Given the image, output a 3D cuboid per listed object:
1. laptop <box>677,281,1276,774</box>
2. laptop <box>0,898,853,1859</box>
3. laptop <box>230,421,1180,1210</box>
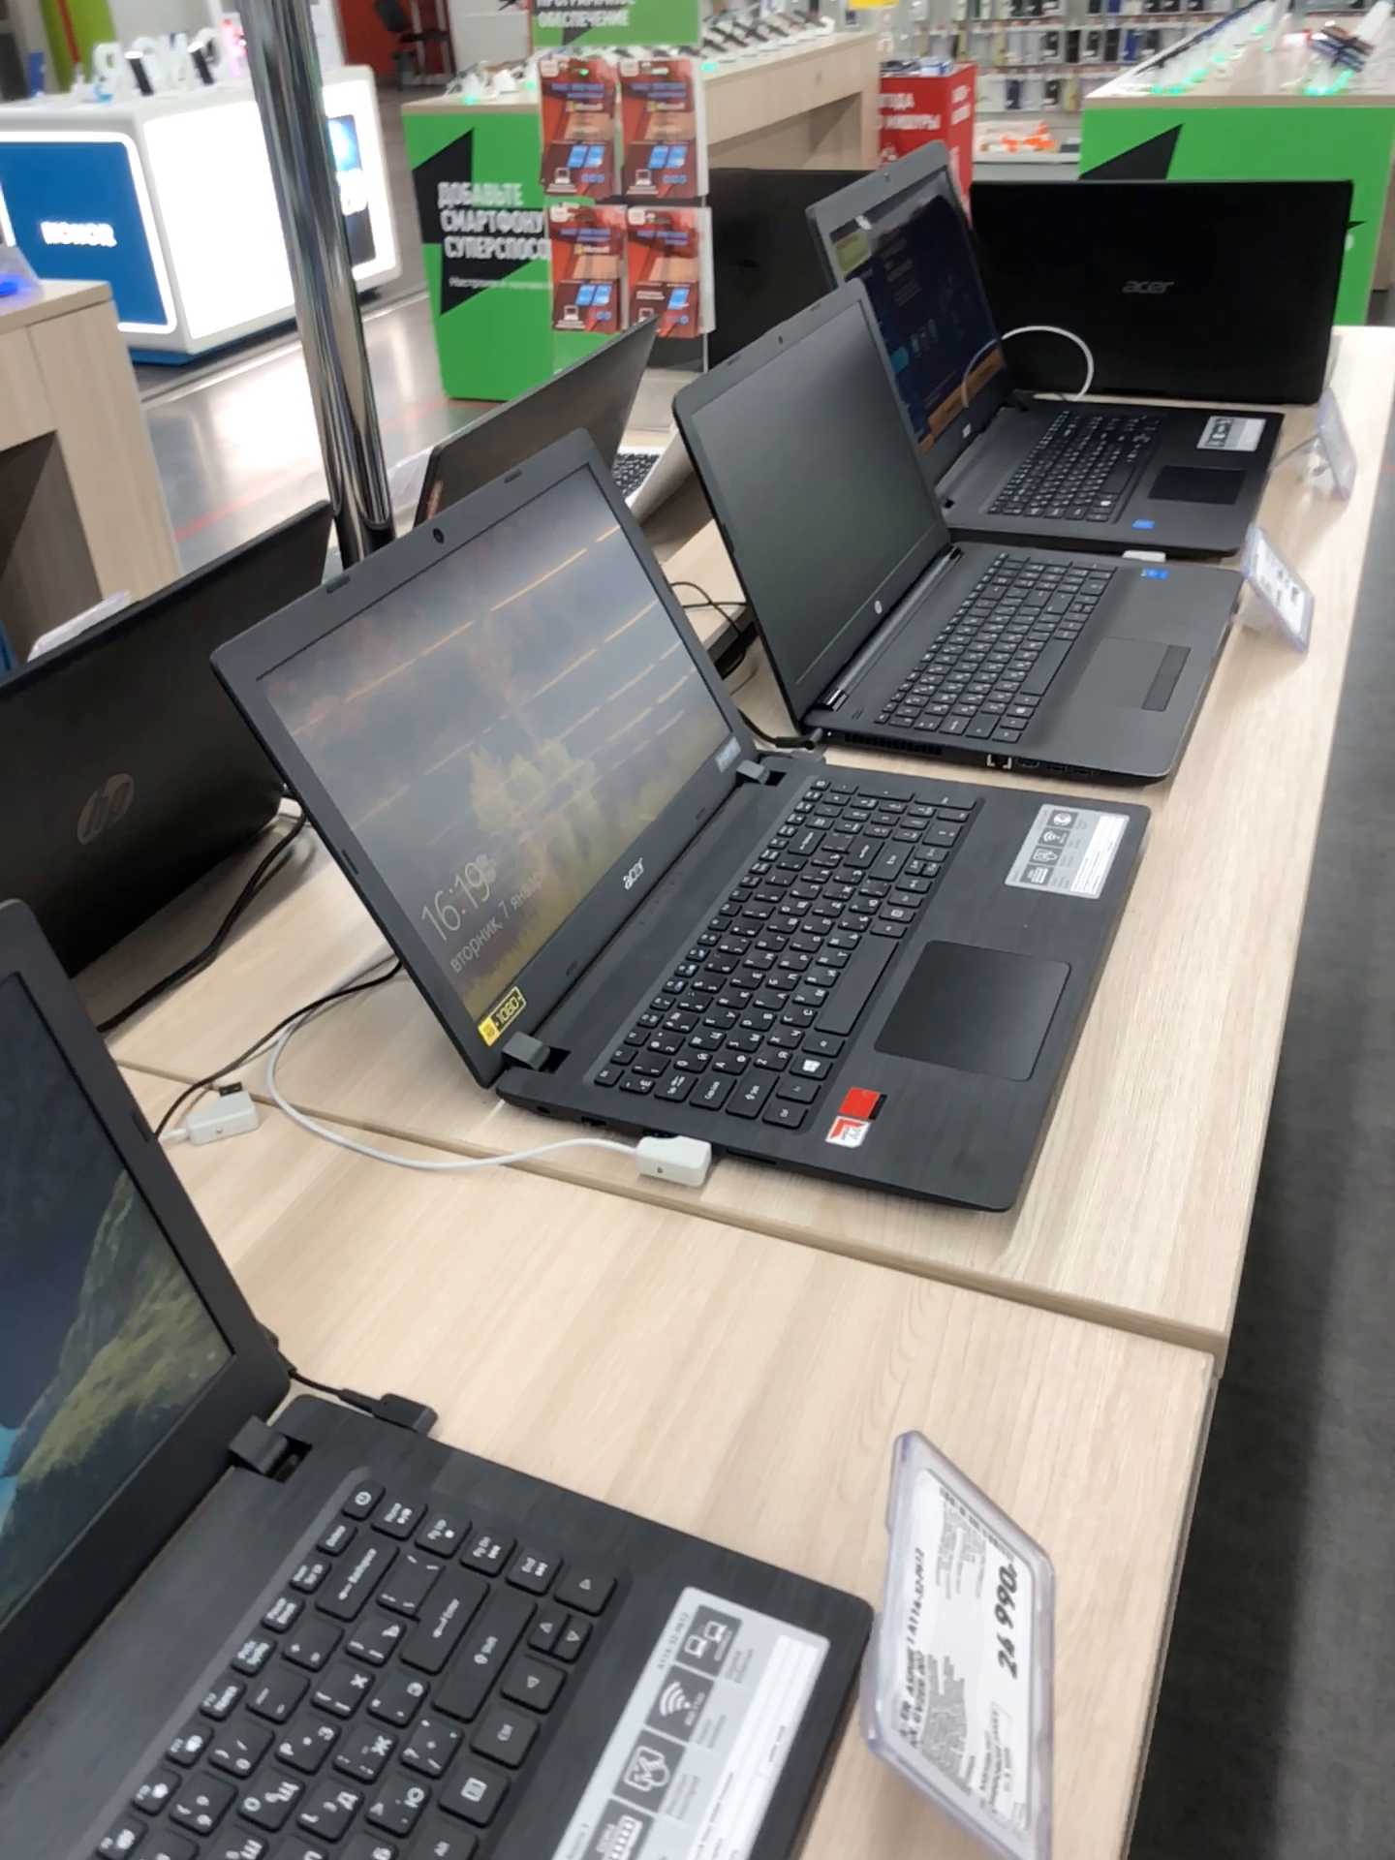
[{"bbox_3d":[0.215,-0.321,1.122,0.338,0.212,0.379,12,36,23],"label":"laptop"},{"bbox_3d":[-0.152,0.189,0.390,0.300,0.214,0.307,12,36,21],"label":"laptop"},{"bbox_3d":[0.033,-0.101,0.814,0.367,0.208,0.375,11,36,21],"label":"laptop"}]
